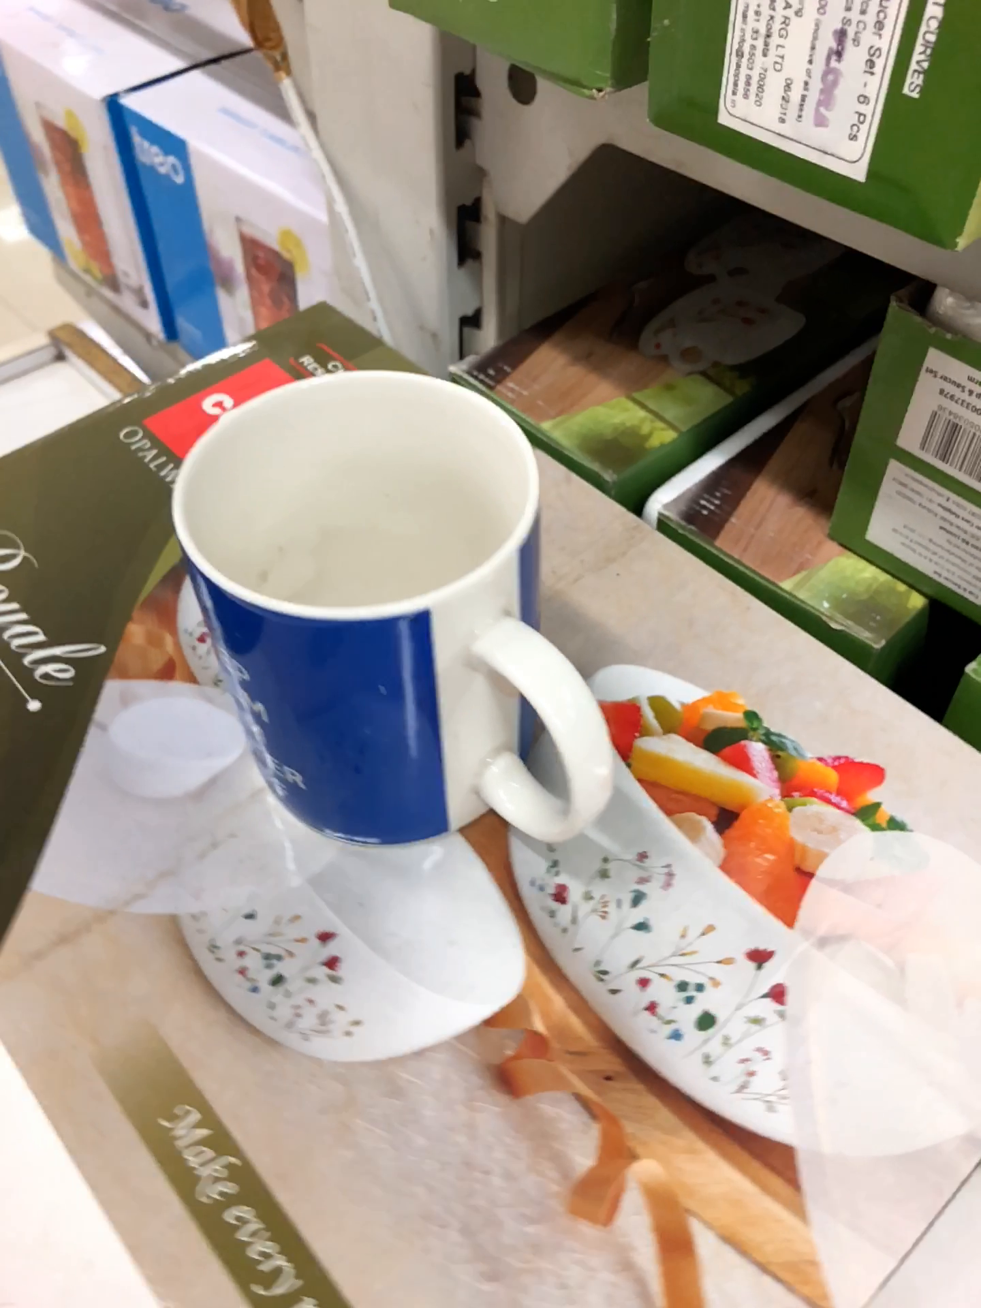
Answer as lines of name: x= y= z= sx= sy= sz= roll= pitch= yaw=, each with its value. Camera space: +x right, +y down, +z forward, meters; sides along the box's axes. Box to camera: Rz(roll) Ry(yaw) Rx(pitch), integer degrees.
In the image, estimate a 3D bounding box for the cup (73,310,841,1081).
cup: x=-0.011 y=0.004 z=0.286 sx=0.110 sy=0.099 sz=0.140 roll=-34 pitch=57 yaw=-26
